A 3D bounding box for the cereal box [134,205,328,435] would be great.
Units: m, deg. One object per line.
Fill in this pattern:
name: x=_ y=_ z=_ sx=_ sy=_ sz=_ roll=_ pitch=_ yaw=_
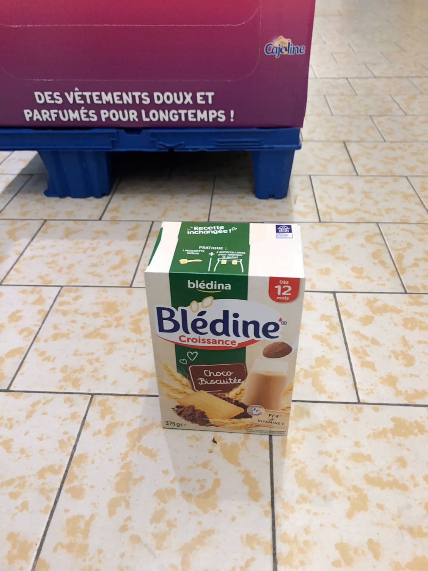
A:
cereal box: x=0.017 y=0.033 z=0.400 sx=0.130 sy=0.179 sz=0.080 roll=2 pitch=37 yaw=6
